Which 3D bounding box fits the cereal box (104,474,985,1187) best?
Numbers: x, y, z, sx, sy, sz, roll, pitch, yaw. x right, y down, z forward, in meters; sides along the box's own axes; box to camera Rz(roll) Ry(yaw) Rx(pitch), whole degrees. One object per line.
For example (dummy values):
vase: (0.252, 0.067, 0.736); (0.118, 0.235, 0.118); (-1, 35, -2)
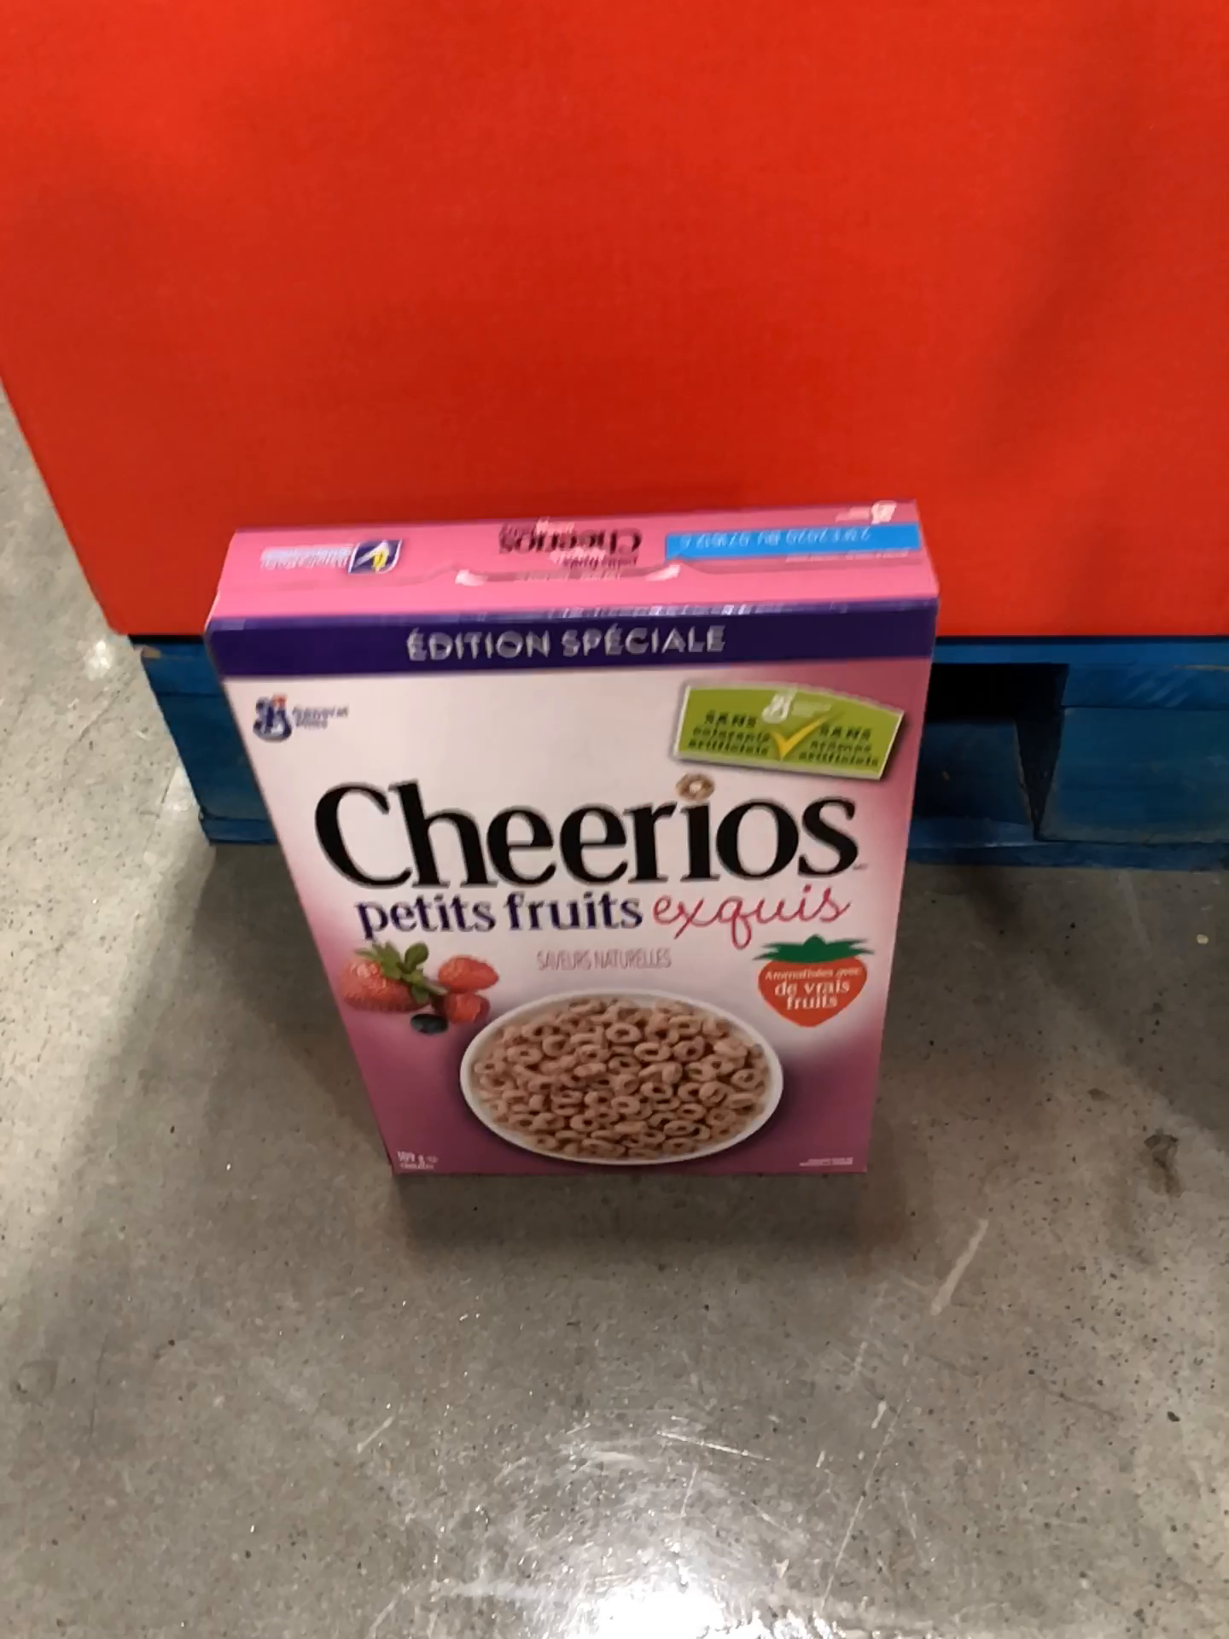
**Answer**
cereal box: (-0.010, 0.026, 0.459); (0.220, 0.279, 0.060); (-1, 46, 4)
